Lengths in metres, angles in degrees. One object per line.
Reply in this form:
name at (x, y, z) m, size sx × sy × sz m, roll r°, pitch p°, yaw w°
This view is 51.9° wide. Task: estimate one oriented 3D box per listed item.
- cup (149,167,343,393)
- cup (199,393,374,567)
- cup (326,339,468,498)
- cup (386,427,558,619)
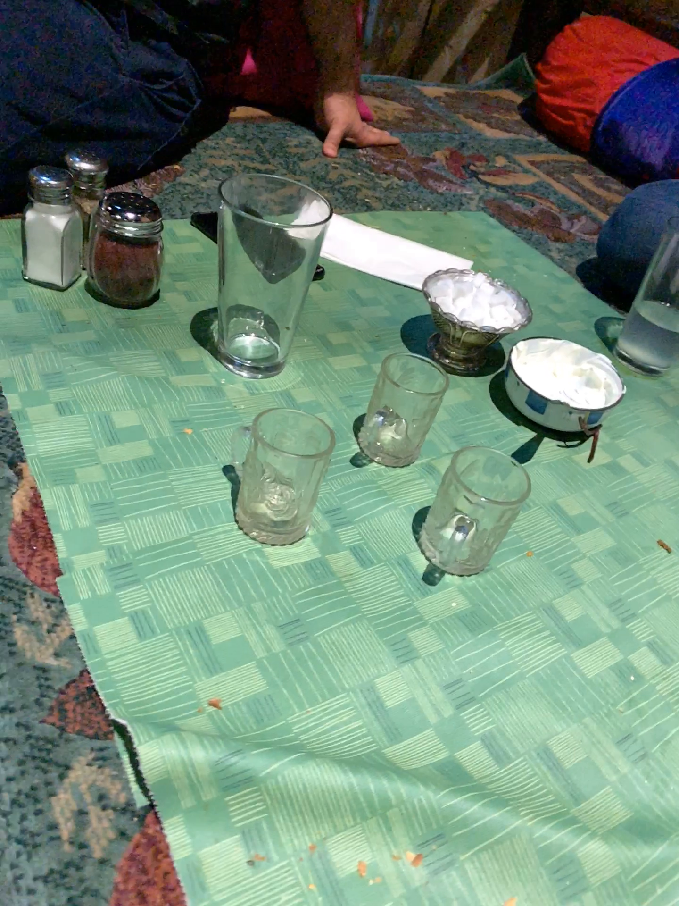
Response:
cup at (-0.083, -0.144, 0.569) m, size 0.100 × 0.129 × 0.110 m, roll -20°, pitch 52°, yaw -34°
cup at (-0.035, 0.014, 0.431) m, size 0.070 × 0.050 × 0.080 m, roll -18°, pitch 51°, yaw -33°
cup at (0.042, -0.027, 0.509) m, size 0.060 × 0.060 × 0.090 m, roll 27°, pitch 42°, yaw 13°
cup at (0.087, 0.043, 0.459) m, size 0.060 × 0.070 × 0.090 m, roll 33°, pitch 43°, yaw 18°
